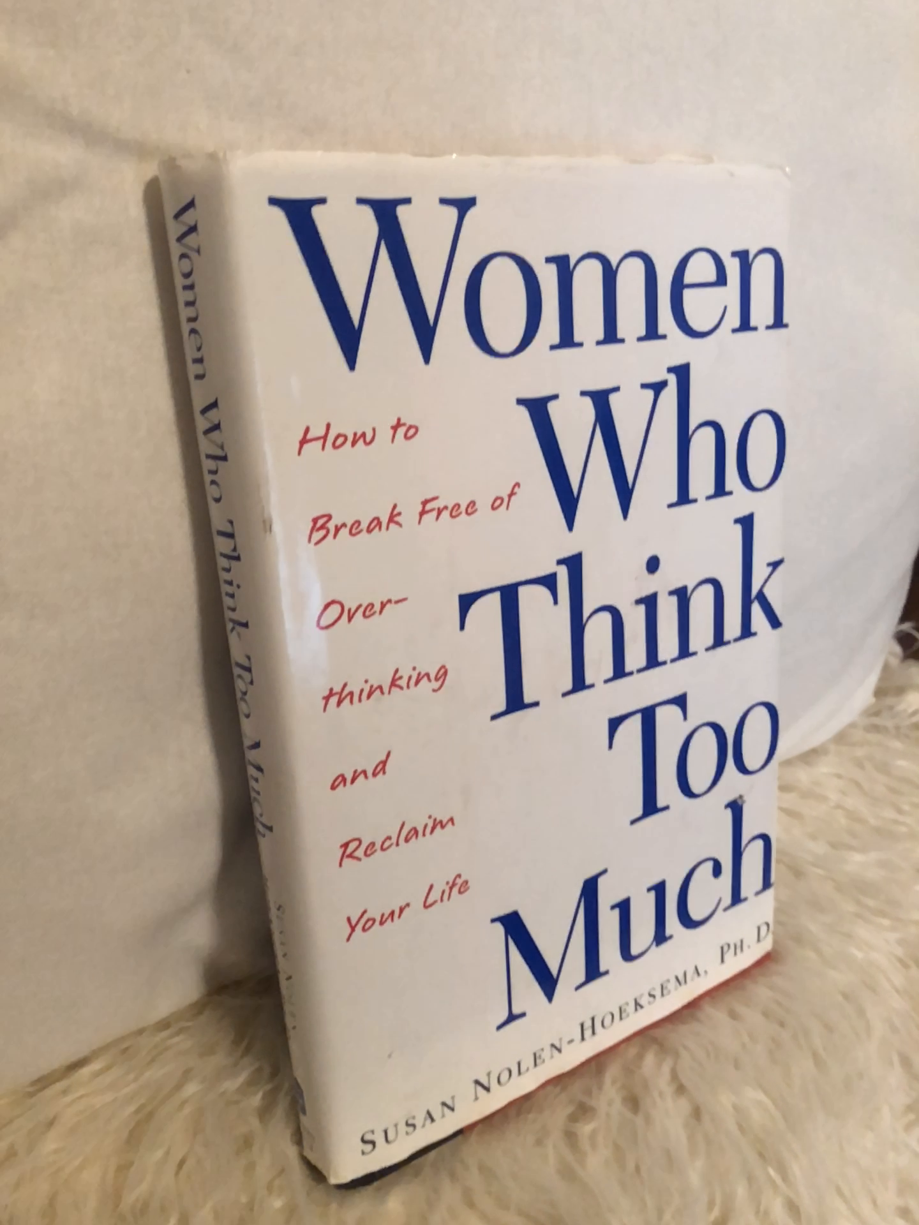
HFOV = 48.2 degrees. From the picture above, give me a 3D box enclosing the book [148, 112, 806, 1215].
[{"bbox_3d":[0.022,0.006,0.276,0.167,0.241,0.040,-13,17,-33],"label":"book"}]
